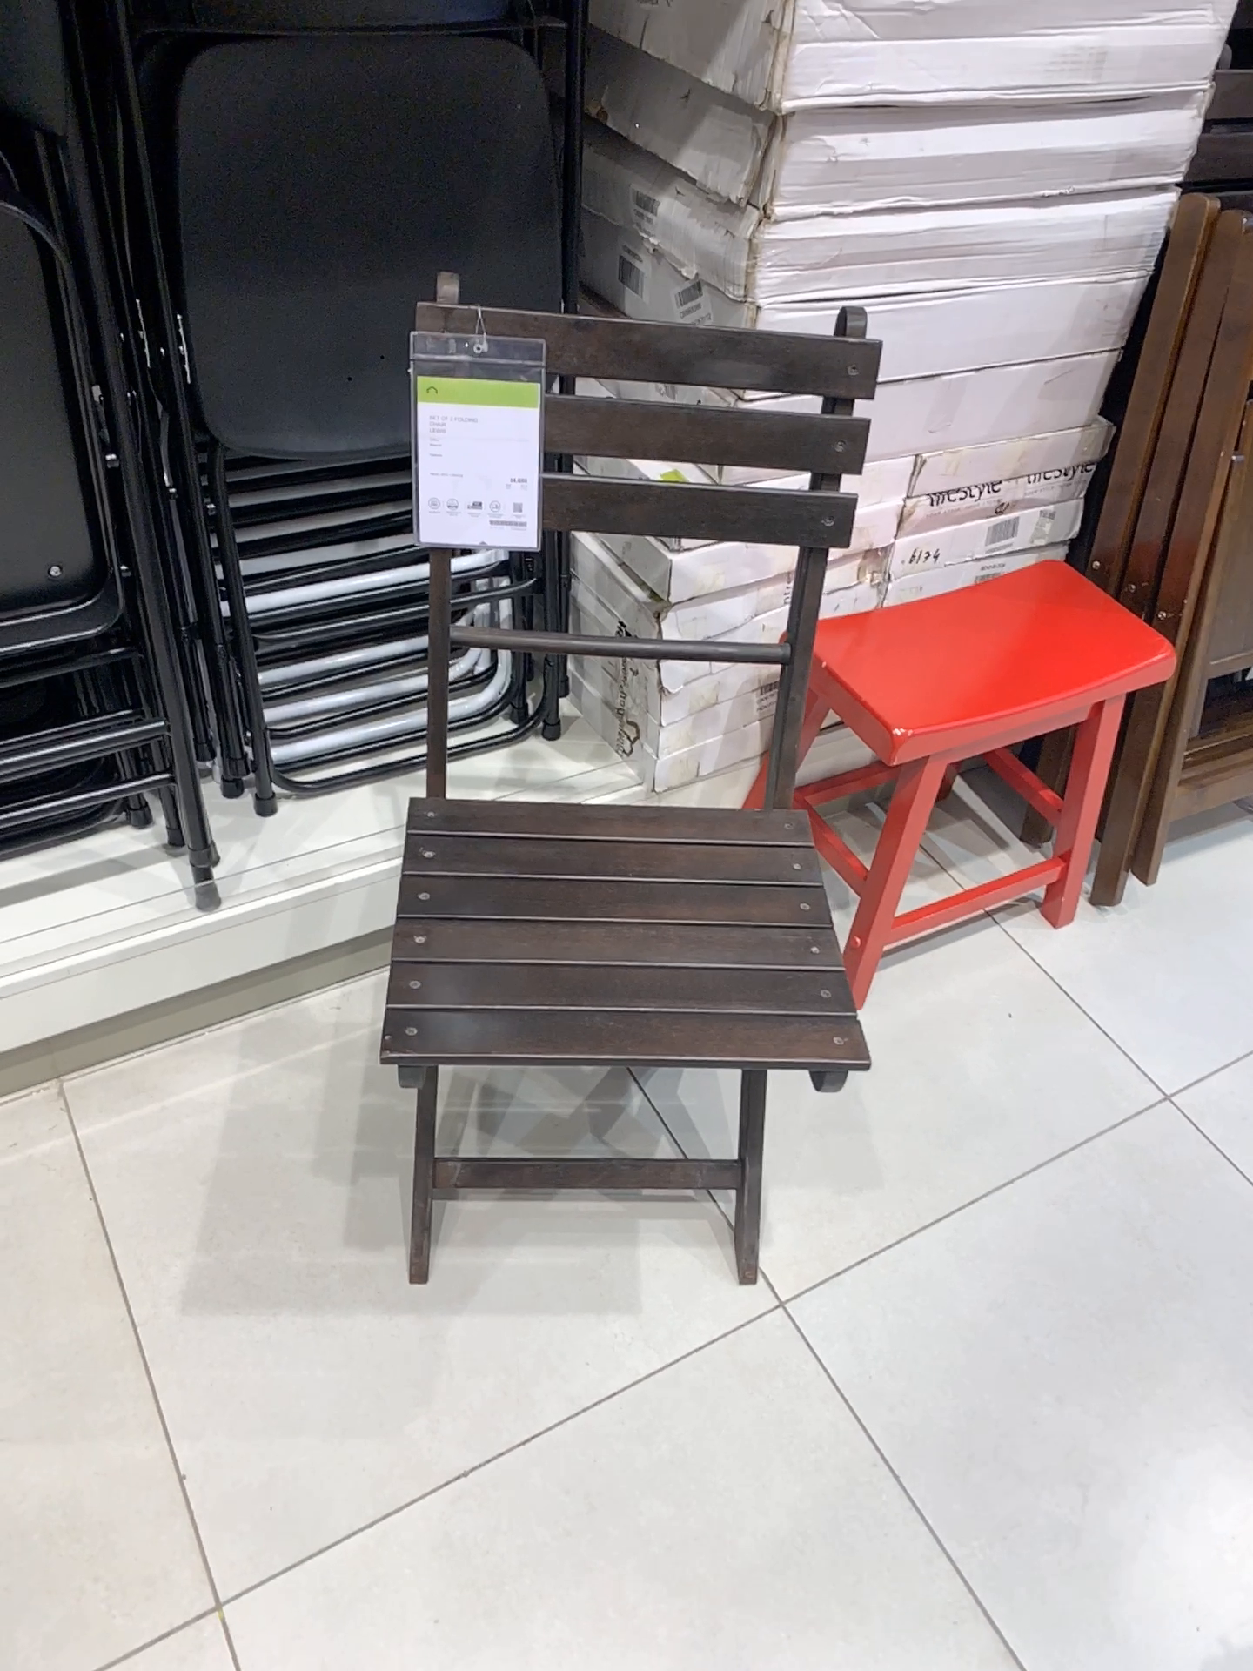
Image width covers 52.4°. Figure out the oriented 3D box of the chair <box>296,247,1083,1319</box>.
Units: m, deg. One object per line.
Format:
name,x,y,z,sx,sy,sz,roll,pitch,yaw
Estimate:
chair,-0.012,0.002,1.117,0.420,0.797,0.482,3,43,-6
